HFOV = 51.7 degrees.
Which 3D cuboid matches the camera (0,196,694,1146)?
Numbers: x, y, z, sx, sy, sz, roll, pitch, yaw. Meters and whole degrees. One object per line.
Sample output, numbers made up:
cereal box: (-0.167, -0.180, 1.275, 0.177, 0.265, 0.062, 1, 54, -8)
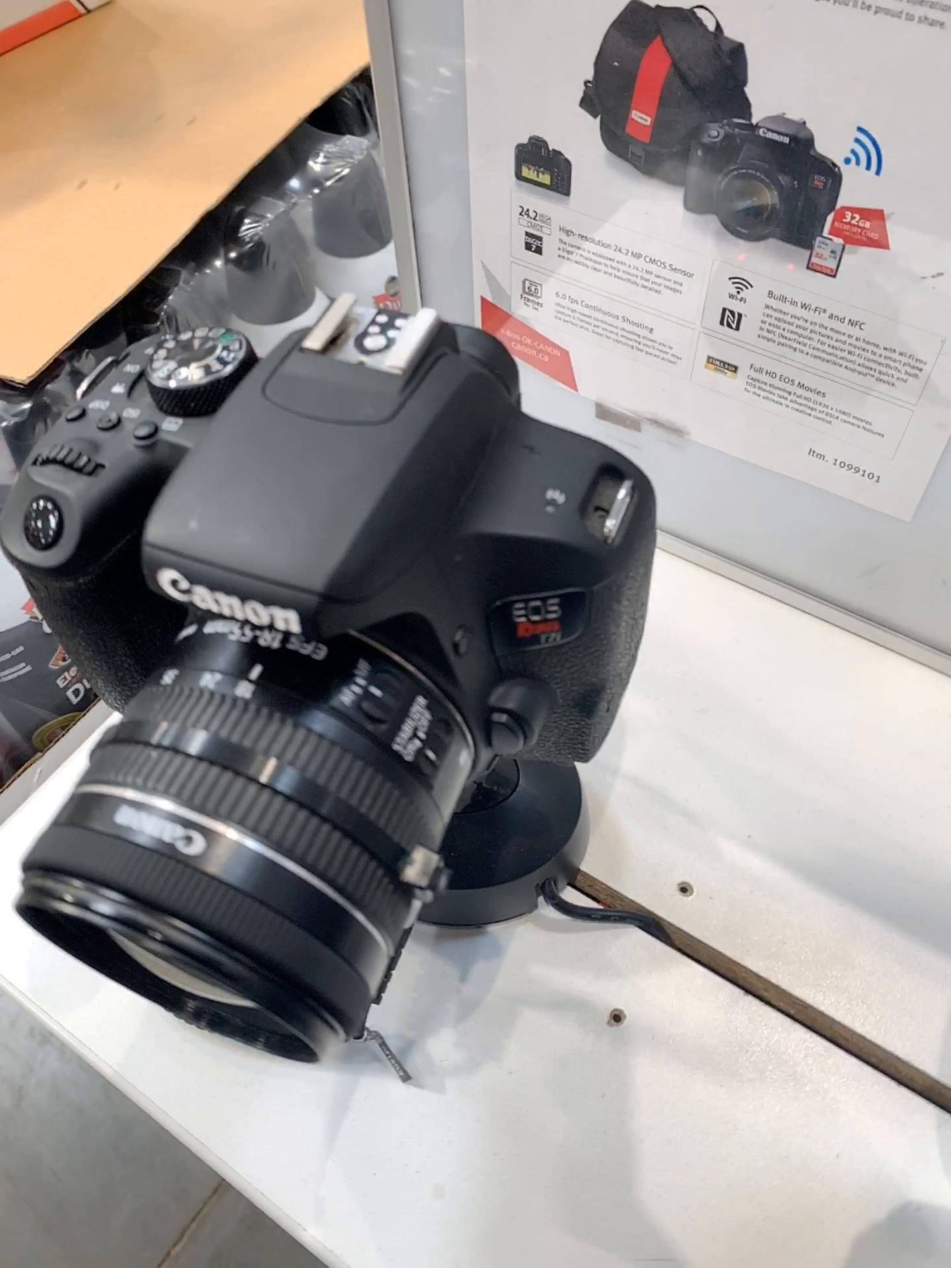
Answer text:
camera: (-0.044, 0.000, 0.186, 0.134, 0.089, 0.121, 15, 56, 14)
